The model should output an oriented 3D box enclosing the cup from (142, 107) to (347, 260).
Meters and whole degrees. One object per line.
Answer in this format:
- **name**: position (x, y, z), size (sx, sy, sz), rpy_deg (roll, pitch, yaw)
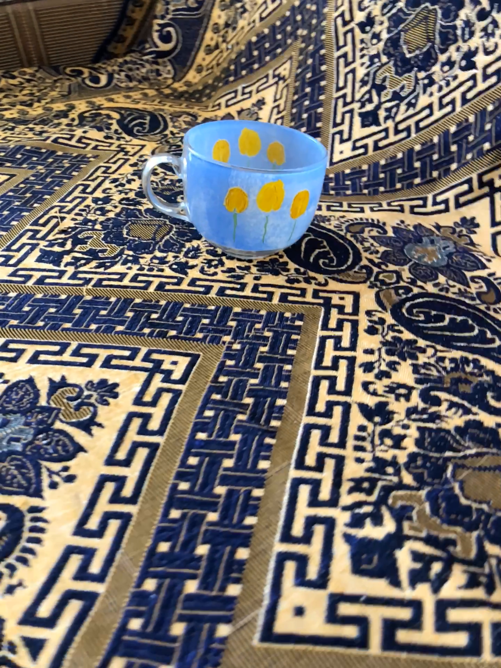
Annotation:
- **cup**: position (-0.012, -0.119, 0.432), size (0.138, 0.072, 0.109), rpy_deg (-1, 42, -9)
